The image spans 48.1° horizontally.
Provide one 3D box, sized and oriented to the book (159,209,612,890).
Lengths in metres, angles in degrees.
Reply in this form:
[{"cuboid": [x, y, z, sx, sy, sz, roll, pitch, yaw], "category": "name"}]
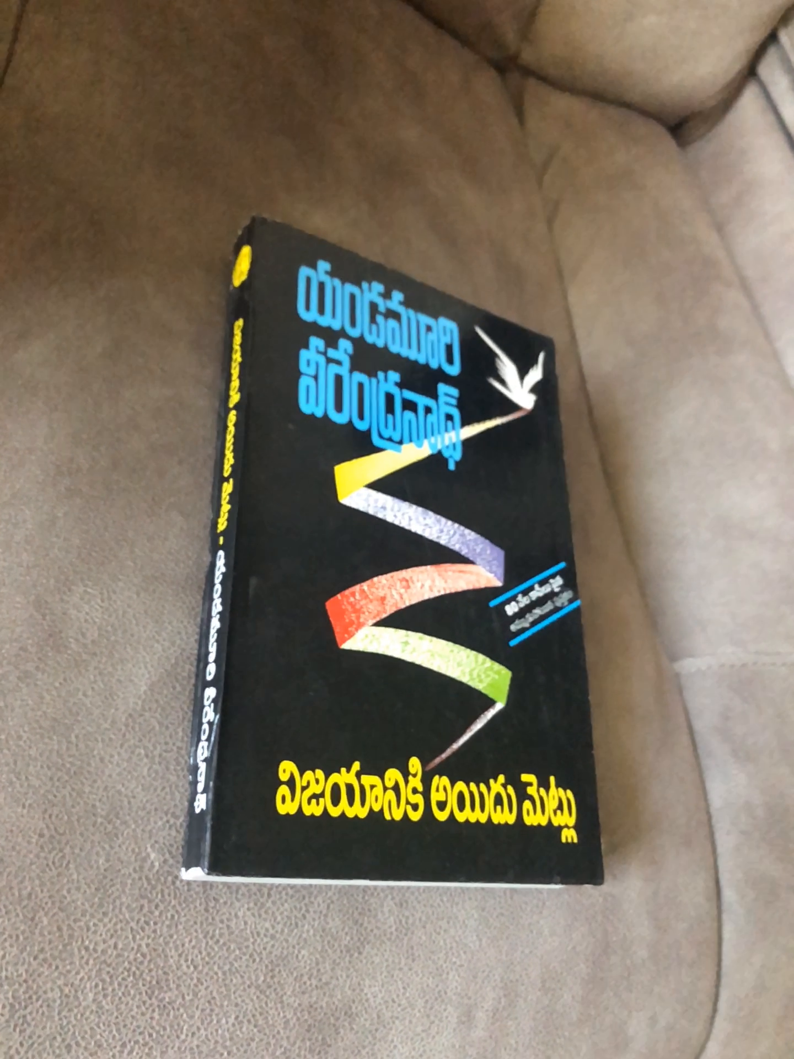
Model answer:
[{"cuboid": [0.004, 0.009, 0.307, 0.144, 0.026, 0.212, 15, 63, -31], "category": "book"}]
